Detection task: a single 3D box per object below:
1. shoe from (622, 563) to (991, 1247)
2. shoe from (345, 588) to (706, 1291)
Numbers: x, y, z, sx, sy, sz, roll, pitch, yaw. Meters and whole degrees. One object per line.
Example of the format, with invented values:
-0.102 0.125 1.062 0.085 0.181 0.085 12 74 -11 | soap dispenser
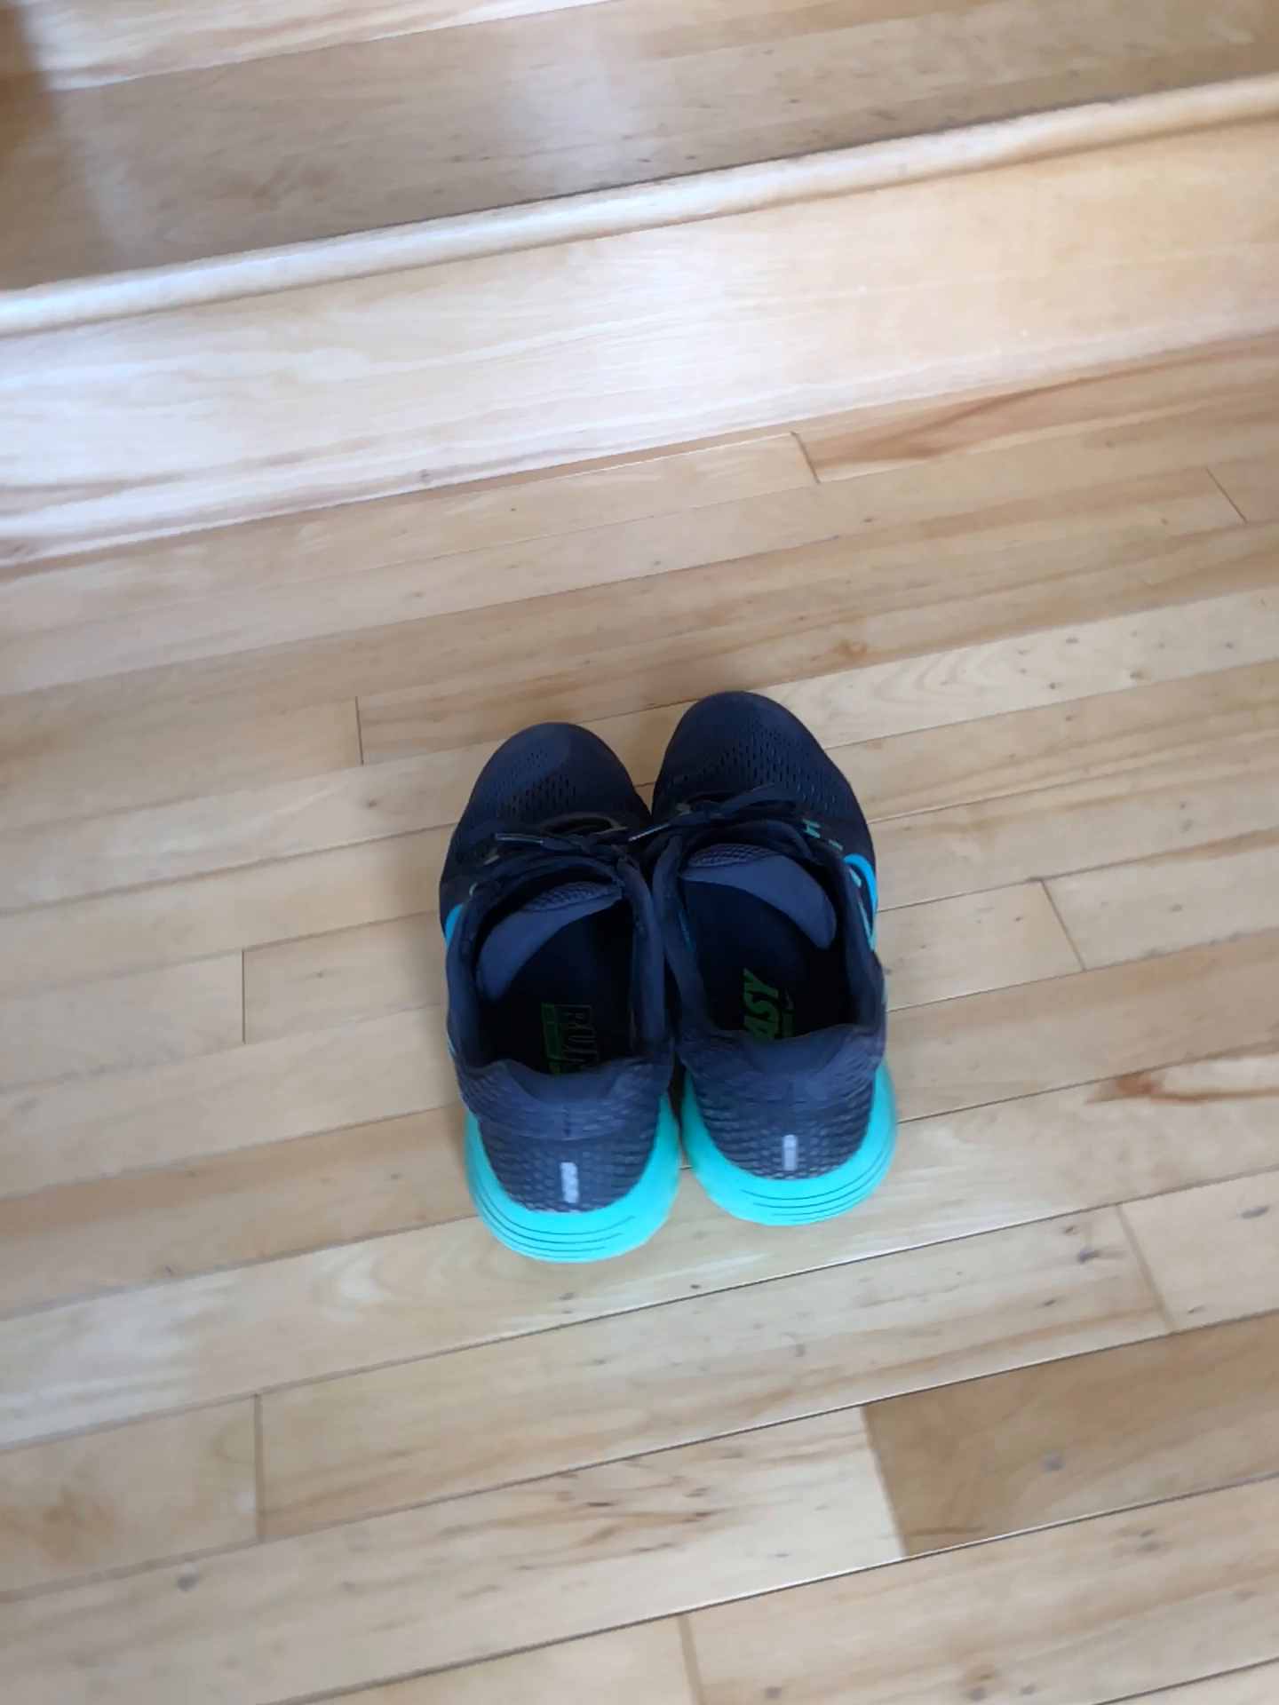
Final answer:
0.060 0.011 0.618 0.120 0.100 0.291 -4 50 2 | shoe
-0.049 0.024 0.613 0.120 0.100 0.291 -7 50 1 | shoe
